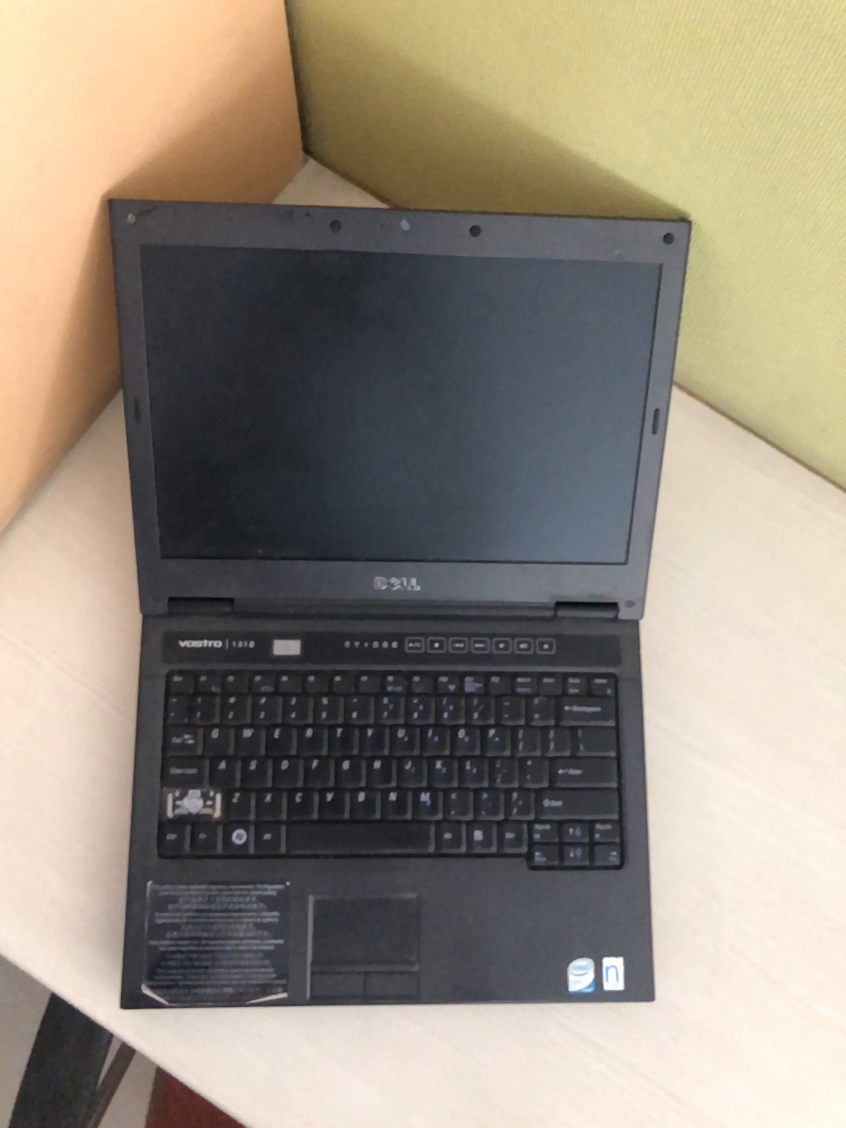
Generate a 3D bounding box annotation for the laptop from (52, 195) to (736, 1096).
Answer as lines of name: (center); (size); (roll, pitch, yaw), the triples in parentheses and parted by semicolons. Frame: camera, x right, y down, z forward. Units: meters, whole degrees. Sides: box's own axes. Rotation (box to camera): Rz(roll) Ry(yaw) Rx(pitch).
laptop: (-0.013, 0.032, 0.518); (0.305, 0.125, 0.430); (0, 80, -3)
